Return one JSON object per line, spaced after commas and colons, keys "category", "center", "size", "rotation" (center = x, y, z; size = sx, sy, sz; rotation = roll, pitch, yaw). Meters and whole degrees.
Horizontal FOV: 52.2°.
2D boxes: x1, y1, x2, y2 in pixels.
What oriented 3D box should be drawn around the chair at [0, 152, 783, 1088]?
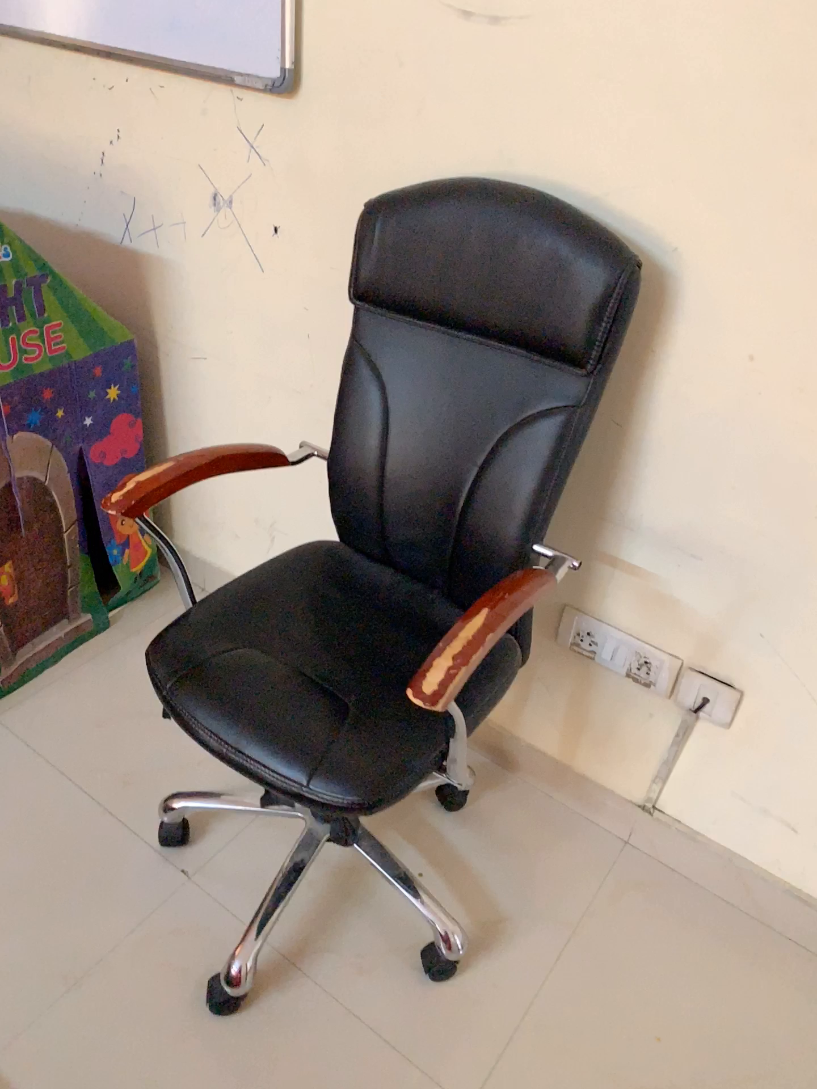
{"category": "chair", "center": [-0.078, 0.088, 1.256], "size": [0.702, 1.081, 0.754], "rotation": [27, 39, 28]}
